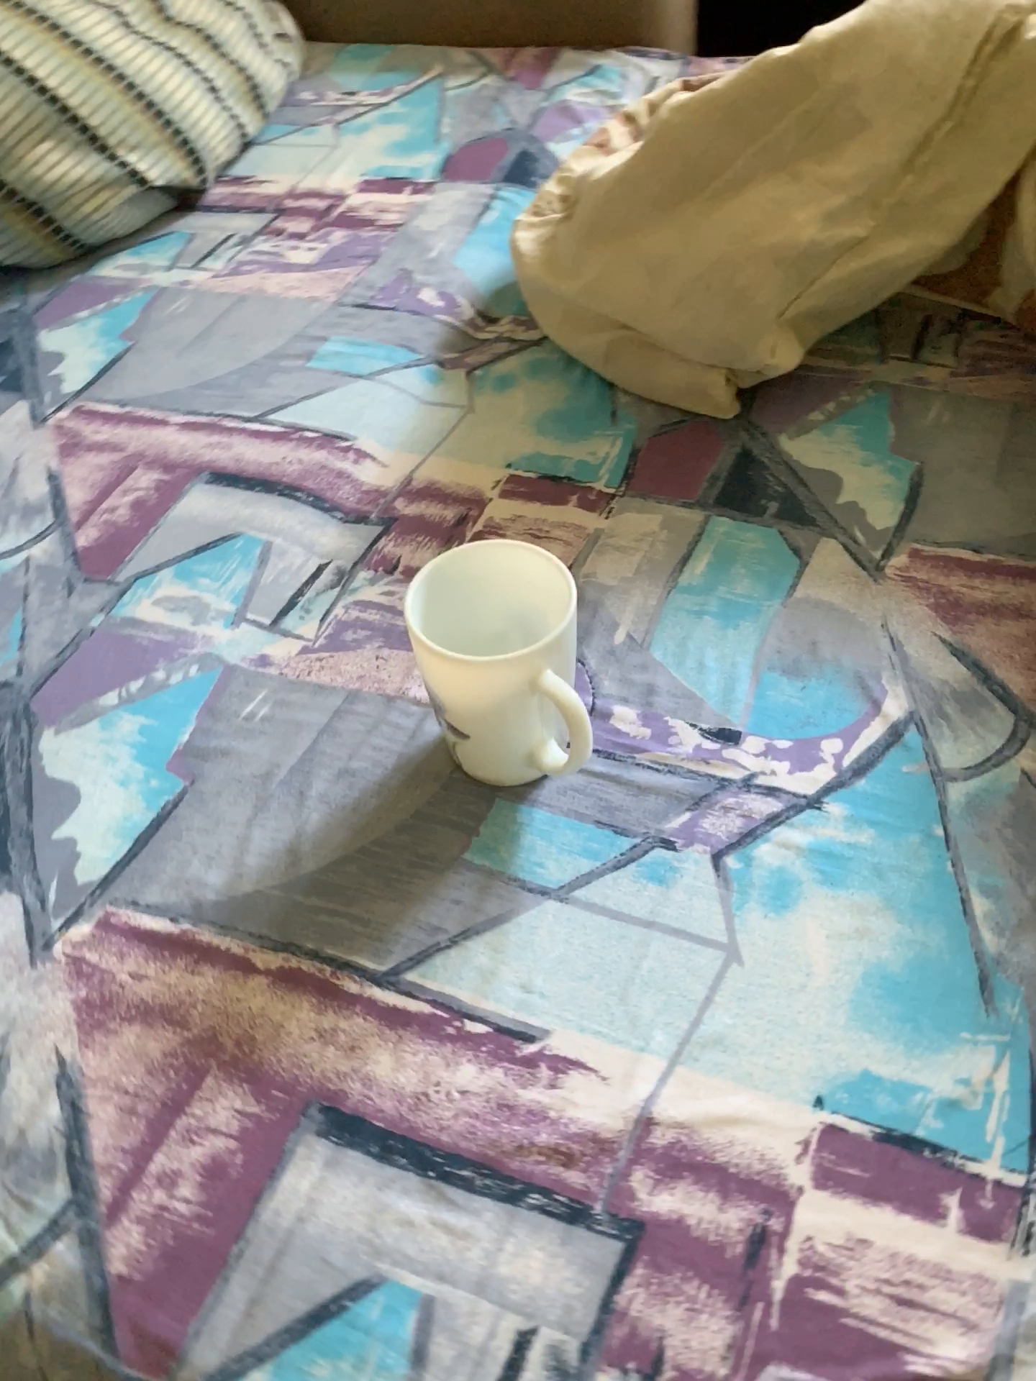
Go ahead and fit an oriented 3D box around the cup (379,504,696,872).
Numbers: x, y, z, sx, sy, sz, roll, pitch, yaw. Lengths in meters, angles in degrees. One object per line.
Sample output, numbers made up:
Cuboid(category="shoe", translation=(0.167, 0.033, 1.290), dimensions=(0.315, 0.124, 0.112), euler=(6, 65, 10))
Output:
Cuboid(category="cup", translation=(0.010, -0.003, 0.497), dimensions=(0.080, 0.099, 0.121), euler=(-34, 54, -21))
